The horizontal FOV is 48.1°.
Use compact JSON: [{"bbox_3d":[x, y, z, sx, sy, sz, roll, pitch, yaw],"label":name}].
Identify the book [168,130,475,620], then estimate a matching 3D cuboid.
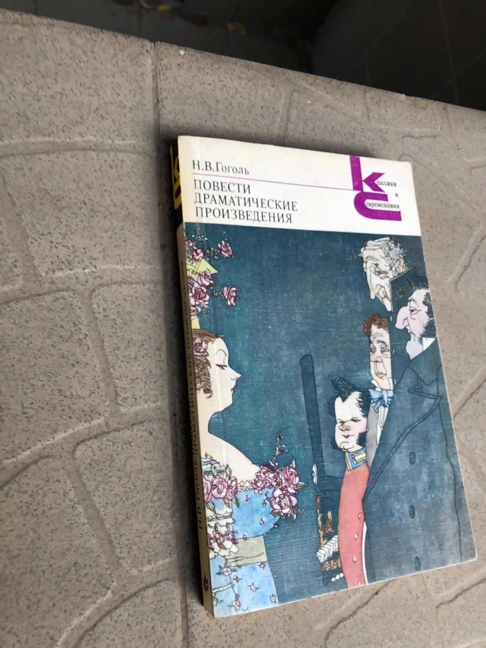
[{"bbox_3d":[0.034,0.014,0.246,0.124,0.021,0.193,0,79,-22],"label":"book"}]
